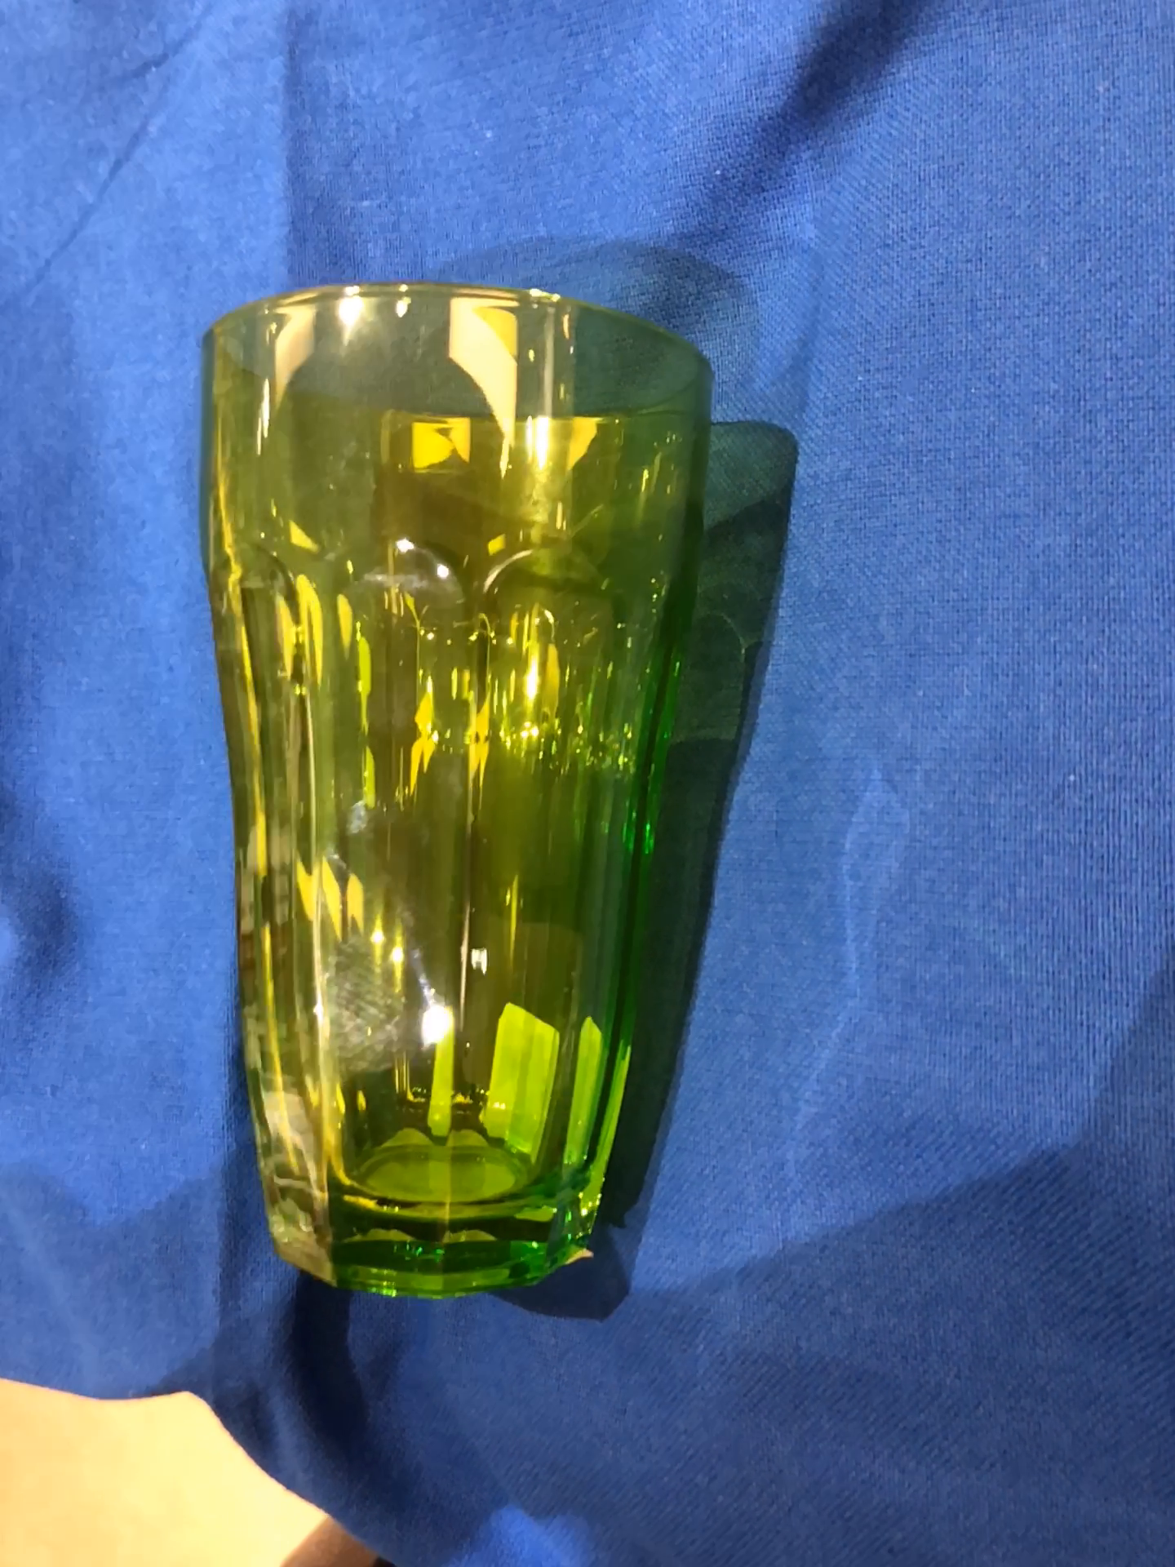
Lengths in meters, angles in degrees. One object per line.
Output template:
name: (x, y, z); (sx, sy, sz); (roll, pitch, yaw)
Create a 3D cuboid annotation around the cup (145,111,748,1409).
cup: (-0.018, -0.003, 0.207); (0.070, 0.070, 0.160); (1, 91, 21)
